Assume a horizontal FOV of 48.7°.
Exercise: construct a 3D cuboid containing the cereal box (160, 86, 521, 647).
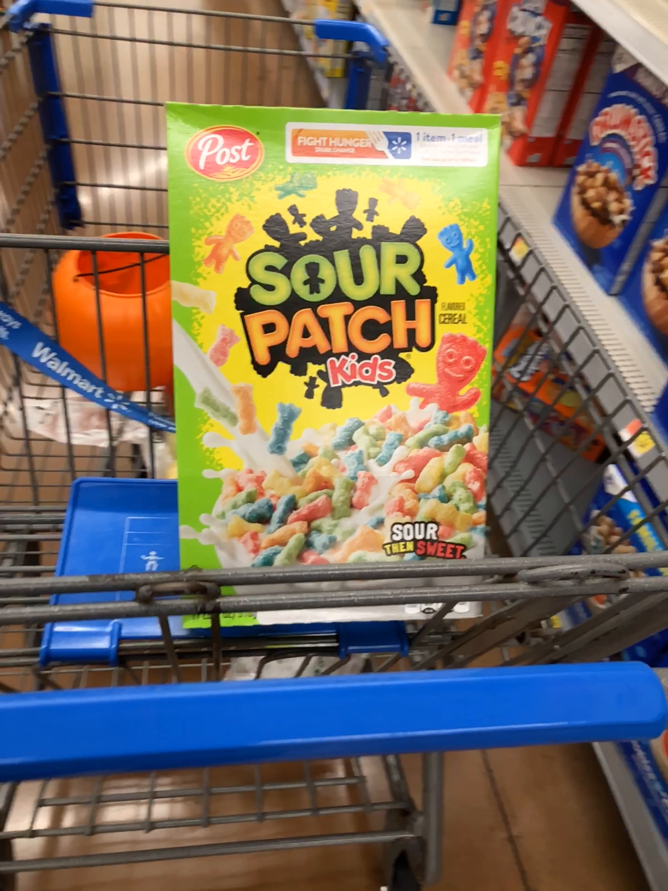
[{"bbox_3d":[0.000,-0.043,0.473,0.200,0.320,0.080,-1,10,-7],"label":"cereal box"}]
